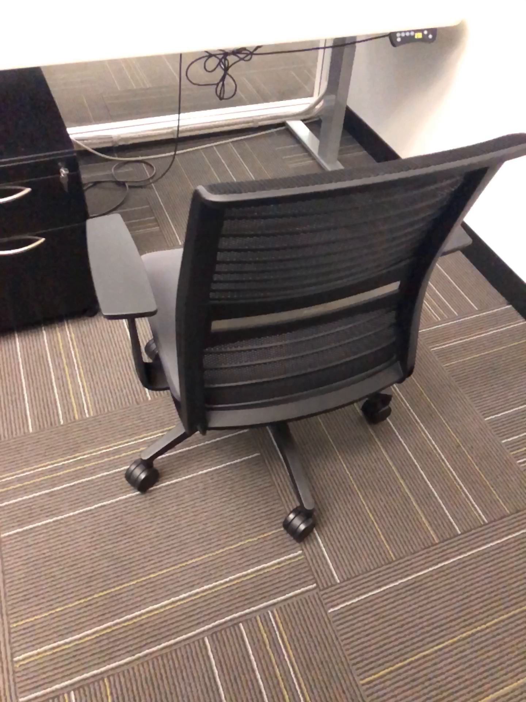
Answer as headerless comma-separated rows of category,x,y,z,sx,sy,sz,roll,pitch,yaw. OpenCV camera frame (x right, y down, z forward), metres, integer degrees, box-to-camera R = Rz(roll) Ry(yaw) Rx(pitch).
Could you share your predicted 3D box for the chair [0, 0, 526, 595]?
chair,-0.004,-0.147,1.138,0.720,0.906,0.683,-15,51,-17
